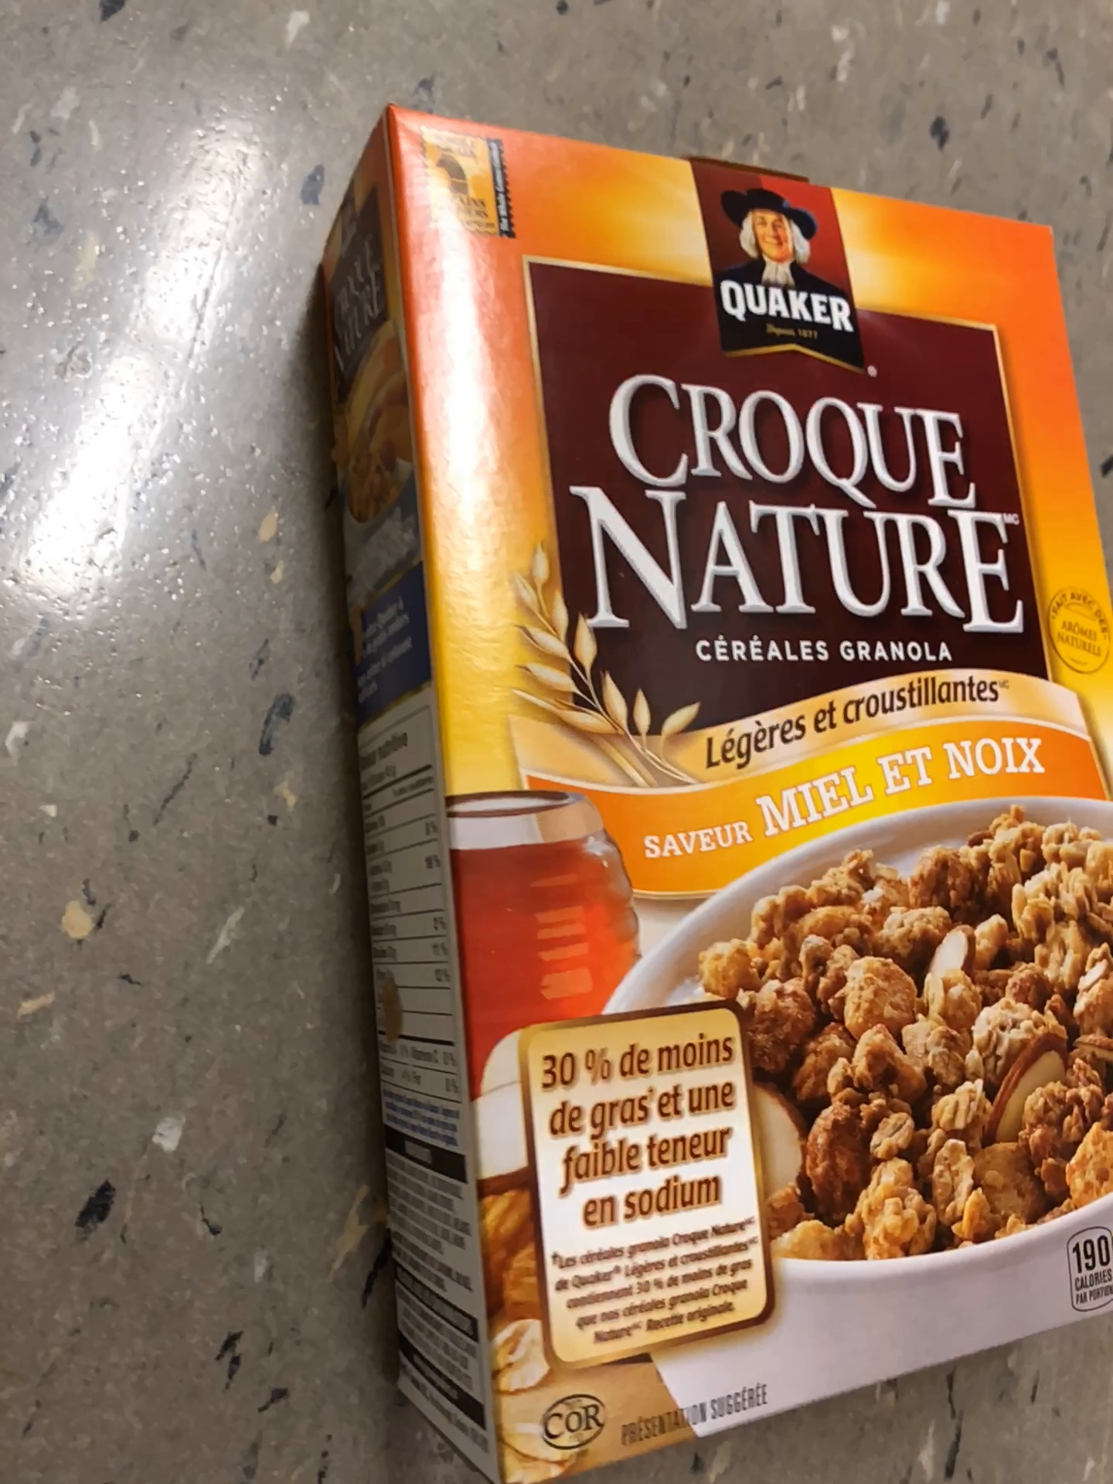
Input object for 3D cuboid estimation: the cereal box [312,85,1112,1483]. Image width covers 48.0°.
[{"bbox_3d":[0.043,0.004,0.260,0.160,0.050,0.240,-2,83,-24],"label":"cereal box"}]
